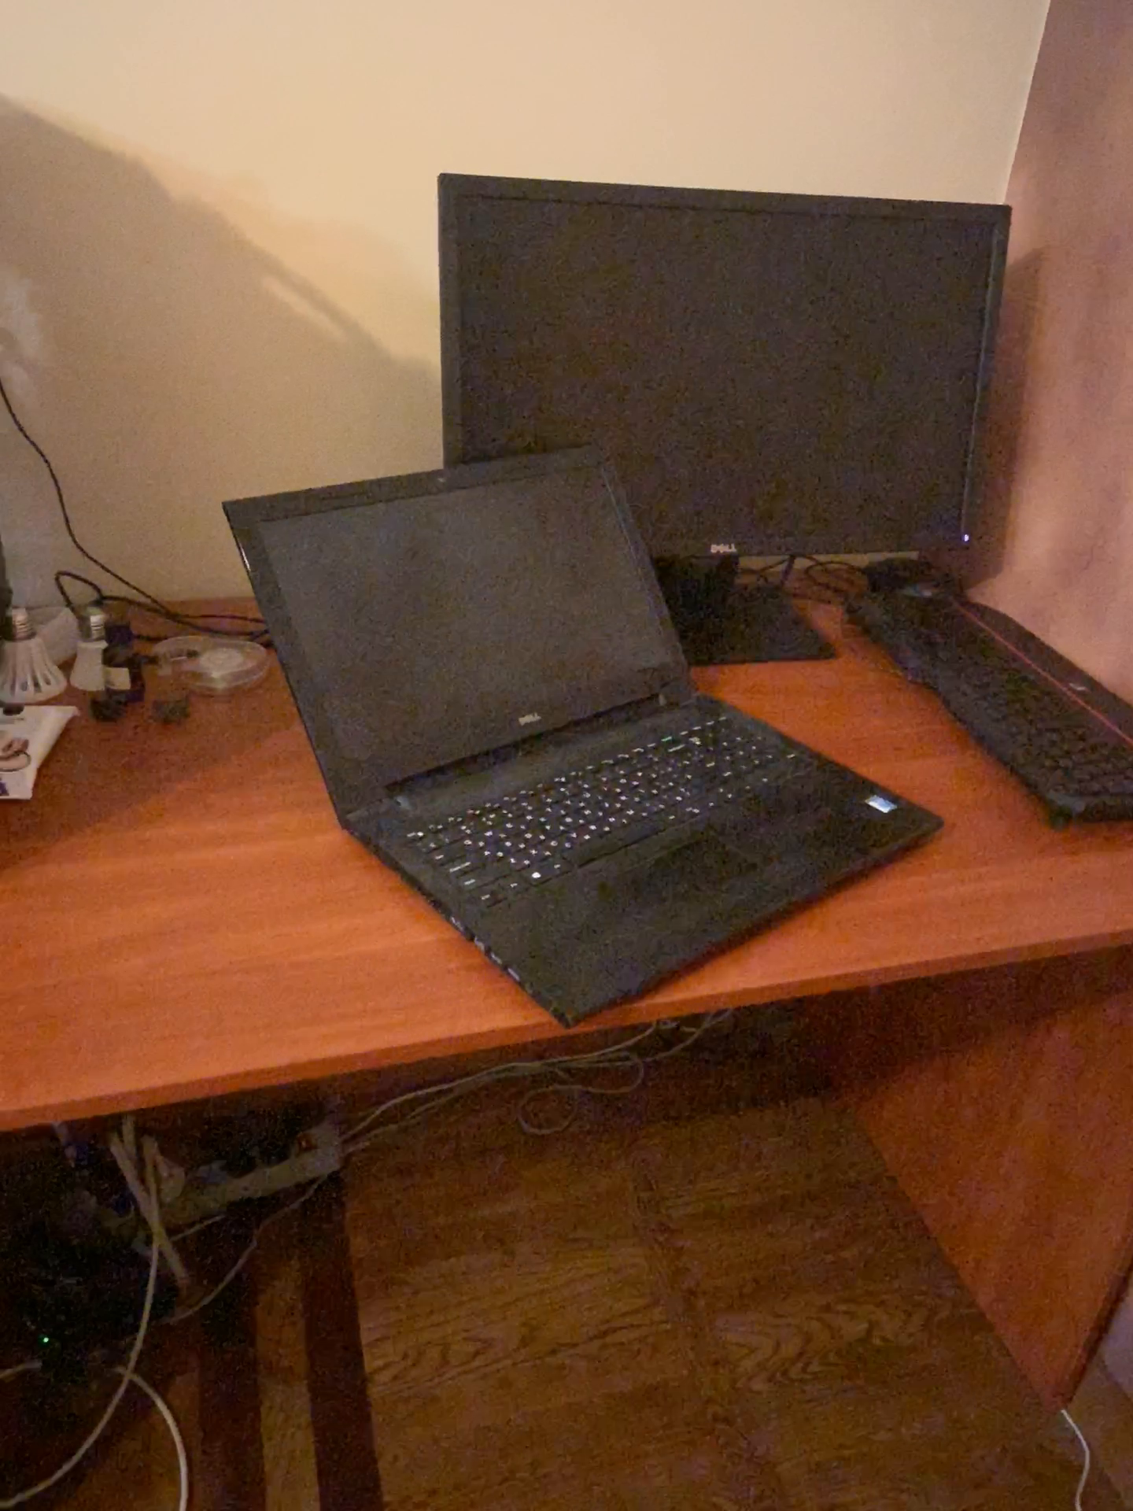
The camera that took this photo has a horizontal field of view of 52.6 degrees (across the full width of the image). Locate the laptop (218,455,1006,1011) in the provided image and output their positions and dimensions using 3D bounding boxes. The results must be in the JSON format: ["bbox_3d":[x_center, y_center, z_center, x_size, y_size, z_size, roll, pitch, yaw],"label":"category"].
[{"bbox_3d":[0.015,-0.062,0.814,0.357,0.181,0.393,-18,35,-36],"label":"laptop"}]
